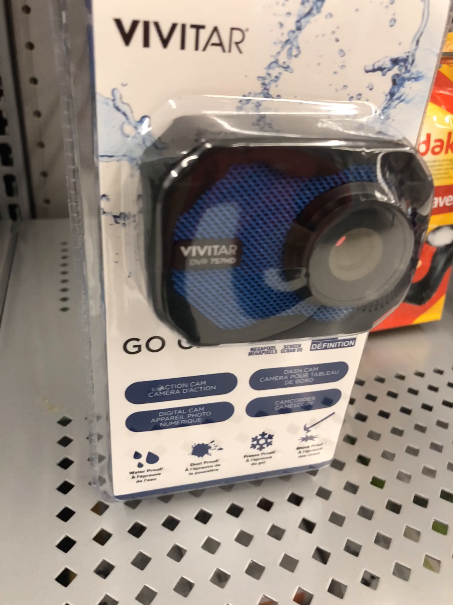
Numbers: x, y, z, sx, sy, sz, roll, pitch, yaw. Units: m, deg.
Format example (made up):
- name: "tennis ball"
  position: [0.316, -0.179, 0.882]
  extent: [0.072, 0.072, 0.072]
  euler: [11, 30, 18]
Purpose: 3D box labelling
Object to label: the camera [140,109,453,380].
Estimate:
- name: "camera"
  position: [0.017, -0.017, 0.126]
  extent: [0.070, 0.050, 0.040]
  euler: [-4, 31, -14]
